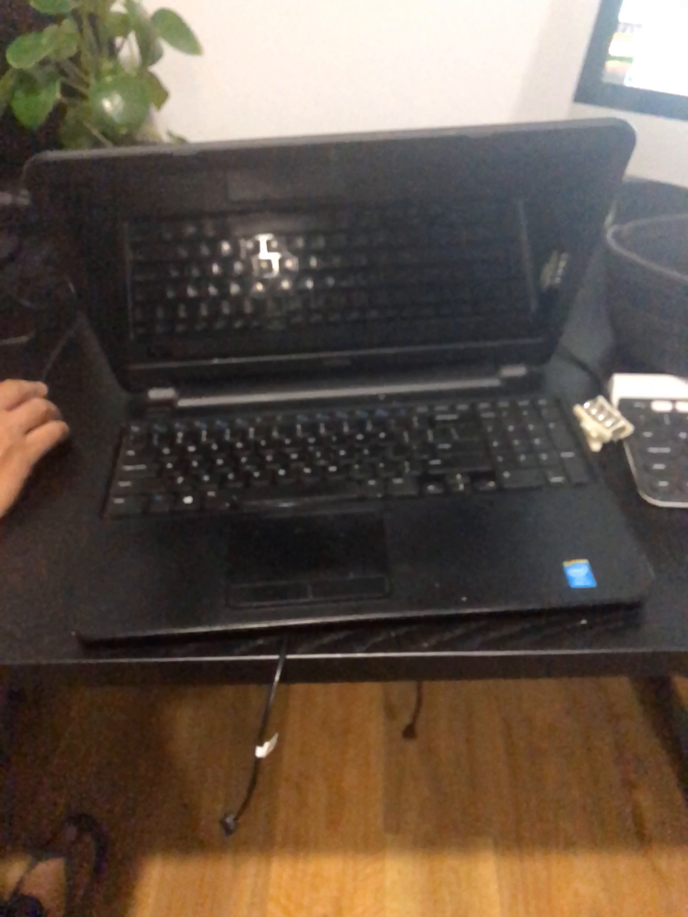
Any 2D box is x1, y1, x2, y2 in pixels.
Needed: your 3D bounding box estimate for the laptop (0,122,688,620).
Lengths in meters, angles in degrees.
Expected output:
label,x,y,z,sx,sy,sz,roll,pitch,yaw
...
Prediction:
label,x,y,z,sx,sy,sz,roll,pitch,yaw
laptop,-0.006,-0.059,0.489,0.366,0.210,0.207,-3,40,0
